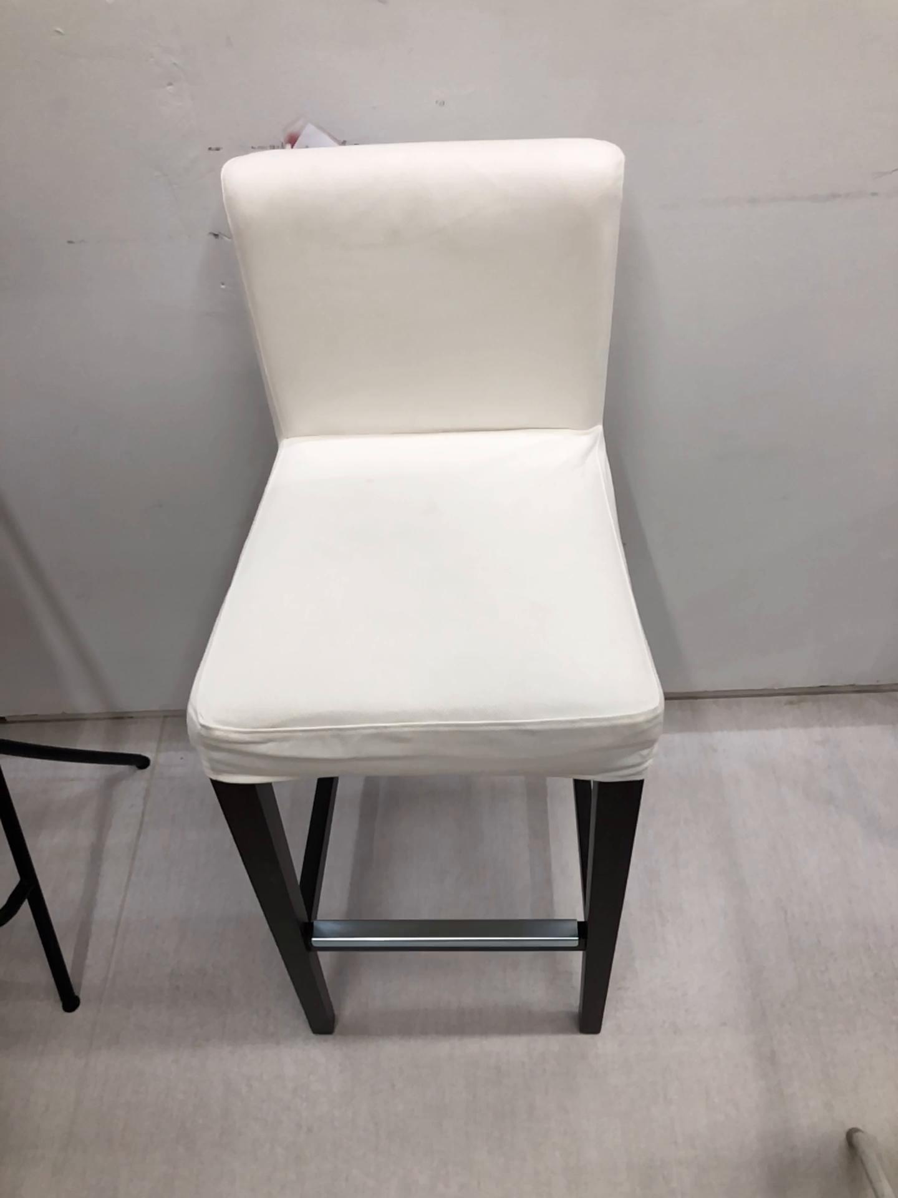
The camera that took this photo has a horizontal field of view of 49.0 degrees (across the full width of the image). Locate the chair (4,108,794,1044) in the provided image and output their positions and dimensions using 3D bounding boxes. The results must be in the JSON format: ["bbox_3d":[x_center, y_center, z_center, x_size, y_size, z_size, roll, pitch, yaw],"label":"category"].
[{"bbox_3d":[-0.006,0.046,1.042,0.440,0.854,0.534,-2,48,3],"label":"chair"}]
